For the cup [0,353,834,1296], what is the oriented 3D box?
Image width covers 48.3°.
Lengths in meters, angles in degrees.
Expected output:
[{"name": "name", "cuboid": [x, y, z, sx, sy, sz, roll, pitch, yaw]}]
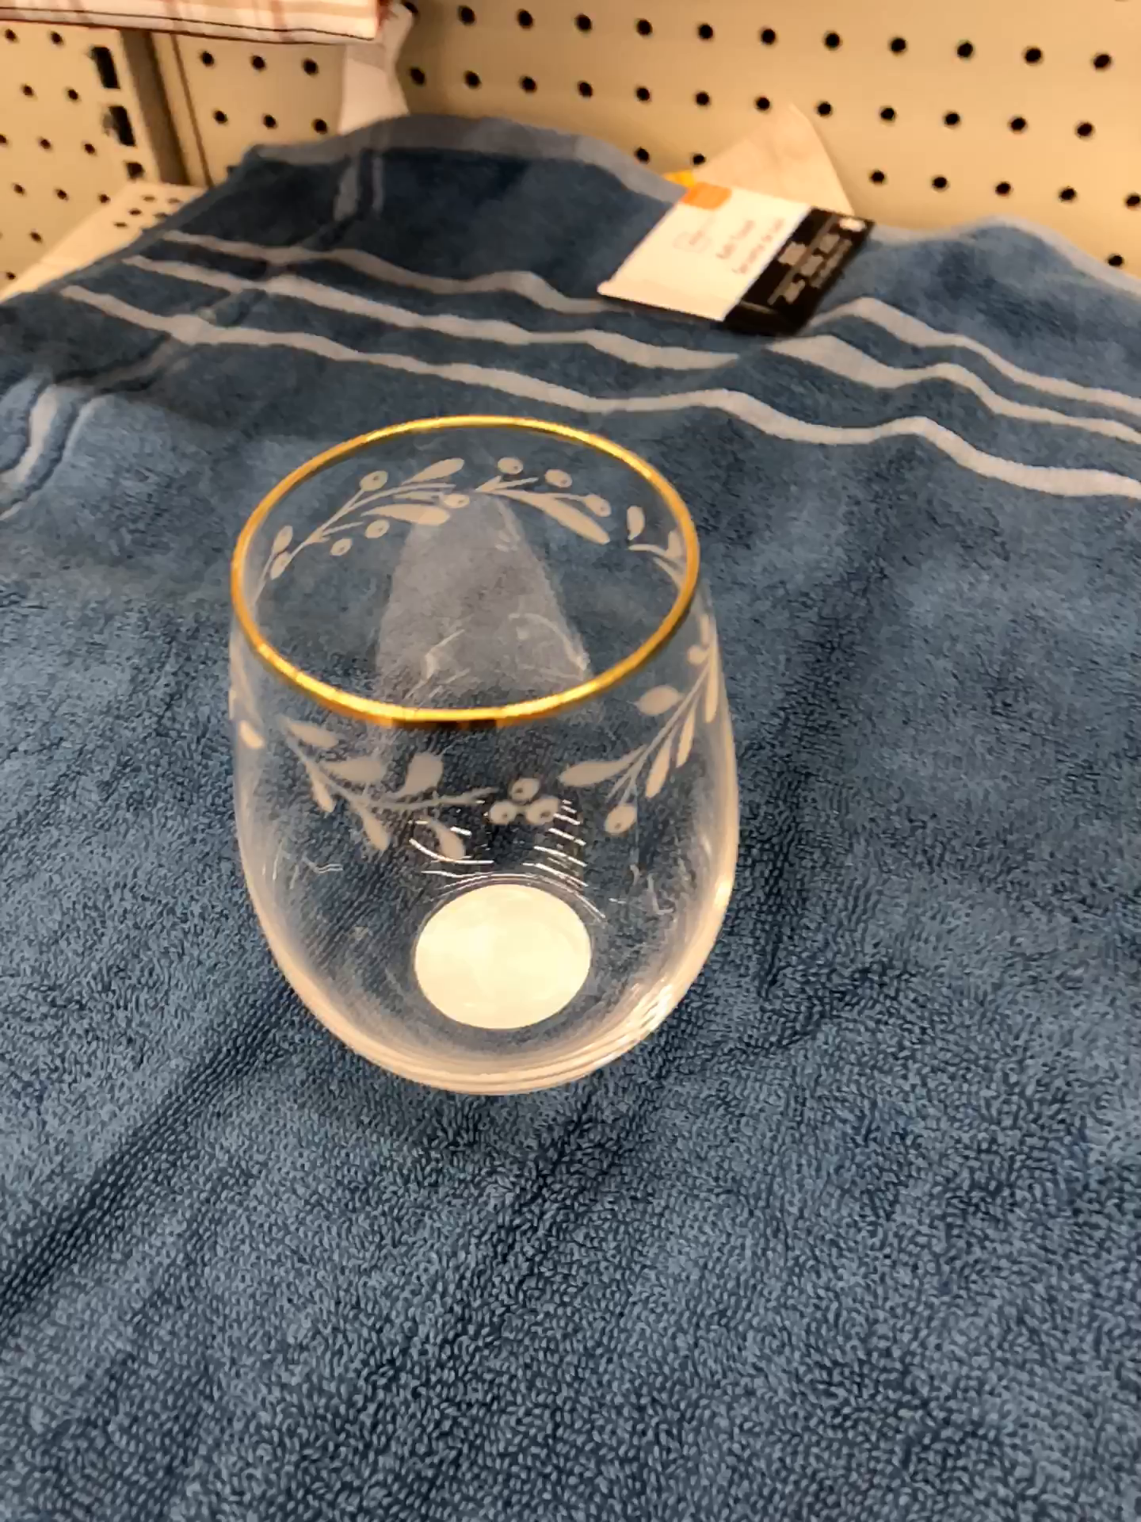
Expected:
[{"name": "cup", "cuboid": [-0.018, 0.009, 0.205, 0.090, 0.100, 0.090, -1, 48, 1]}]
